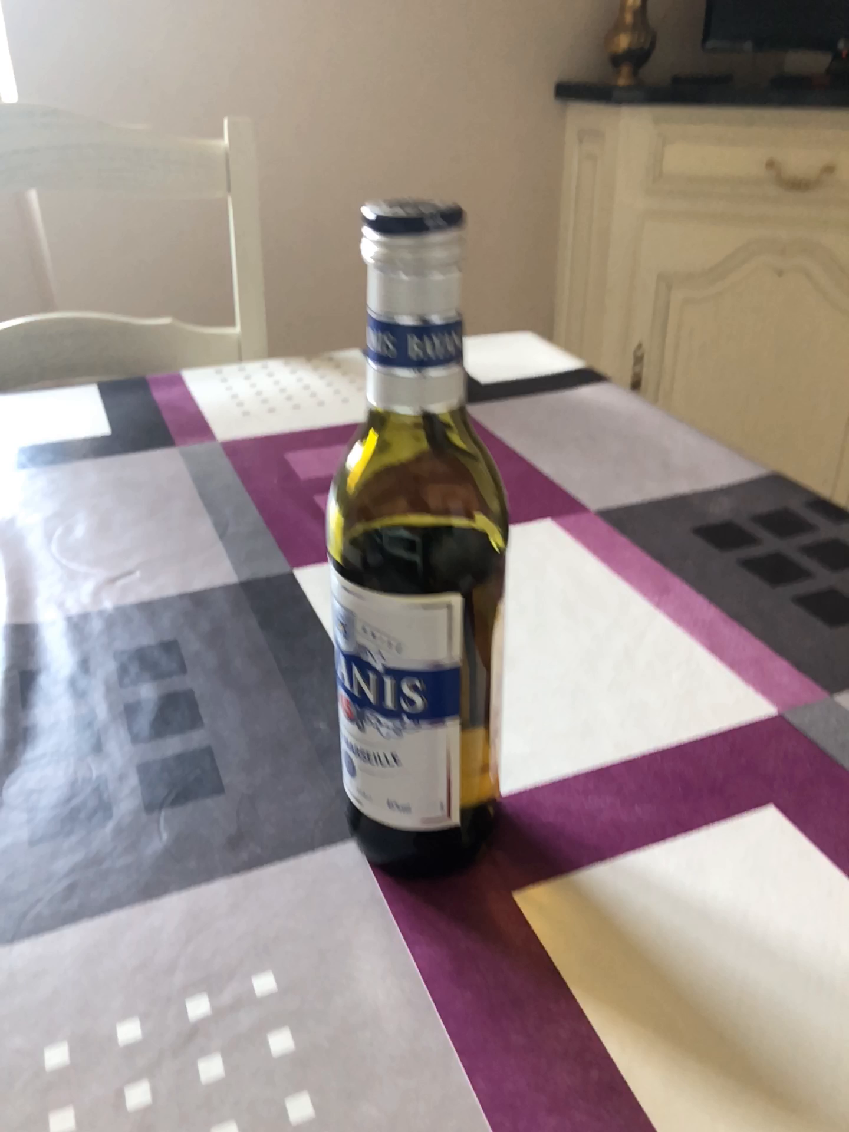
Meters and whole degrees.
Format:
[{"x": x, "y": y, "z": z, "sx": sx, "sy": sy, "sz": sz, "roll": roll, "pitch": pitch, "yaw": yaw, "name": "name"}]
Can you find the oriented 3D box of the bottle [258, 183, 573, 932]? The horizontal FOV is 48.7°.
[{"x": -0.003, "y": 0.005, "z": 0.343, "sx": 0.070, "sy": 0.259, "sz": 0.070, "roll": -1, "pitch": 29, "yaw": 0, "name": "bottle"}]
